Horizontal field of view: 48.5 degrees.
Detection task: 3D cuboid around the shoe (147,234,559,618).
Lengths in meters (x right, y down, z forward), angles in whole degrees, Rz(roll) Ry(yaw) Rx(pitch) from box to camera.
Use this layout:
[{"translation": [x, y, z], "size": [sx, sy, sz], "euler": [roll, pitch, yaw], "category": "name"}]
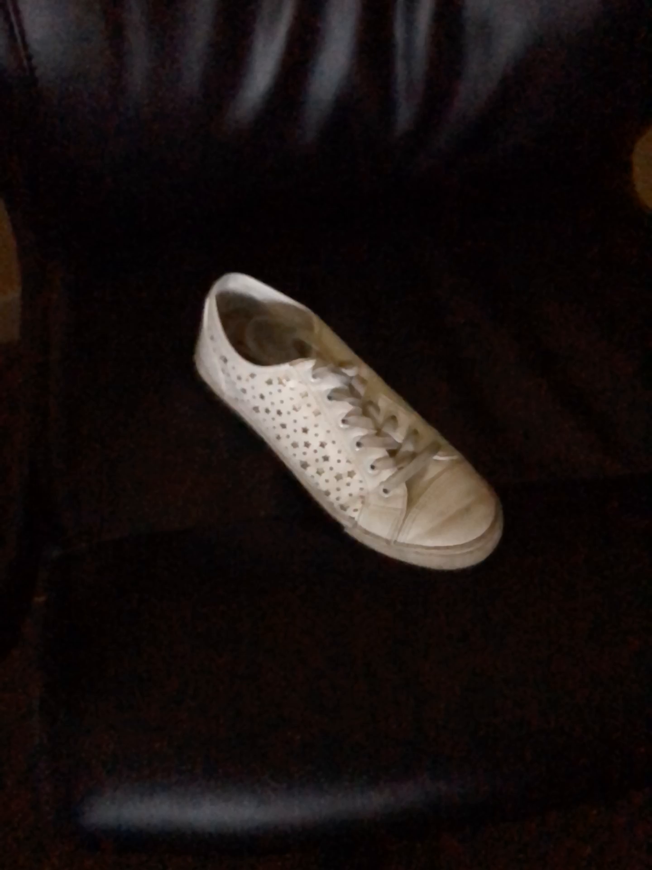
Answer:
[{"translation": [0.010, -0.012, 0.499], "size": [0.260, 0.100, 0.100], "euler": [38, 67, 21], "category": "shoe"}]
